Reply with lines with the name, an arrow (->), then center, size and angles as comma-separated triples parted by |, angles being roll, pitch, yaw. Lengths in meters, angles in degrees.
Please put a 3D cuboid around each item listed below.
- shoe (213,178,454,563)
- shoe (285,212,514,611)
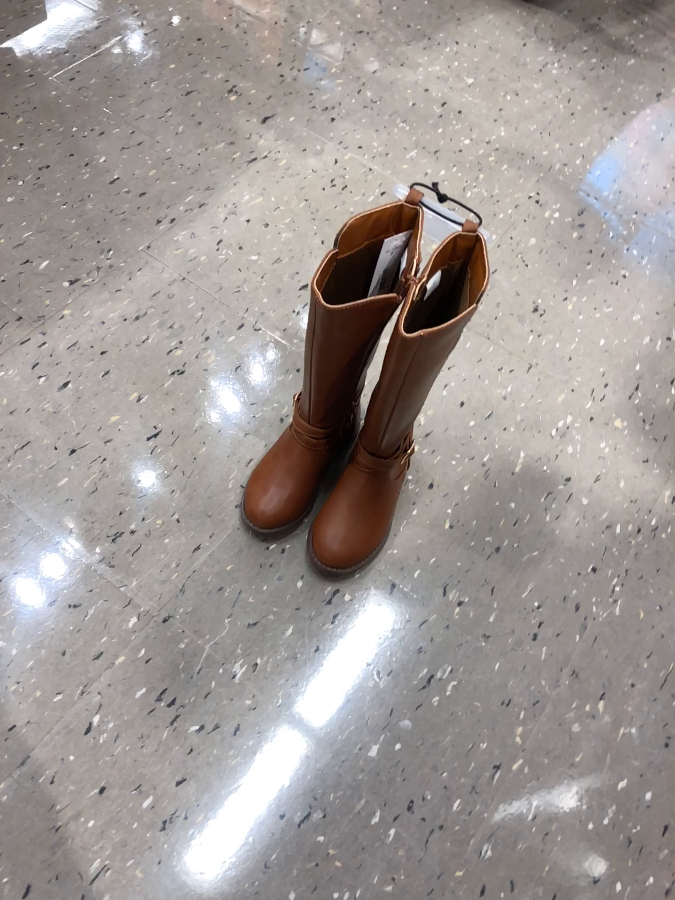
shoe -> -0.015, -0.047, 0.597 | 0.070, 0.270, 0.180 | 29, 59, 5
shoe -> 0.039, -0.015, 0.594 | 0.070, 0.270, 0.190 | 24, 59, 8
